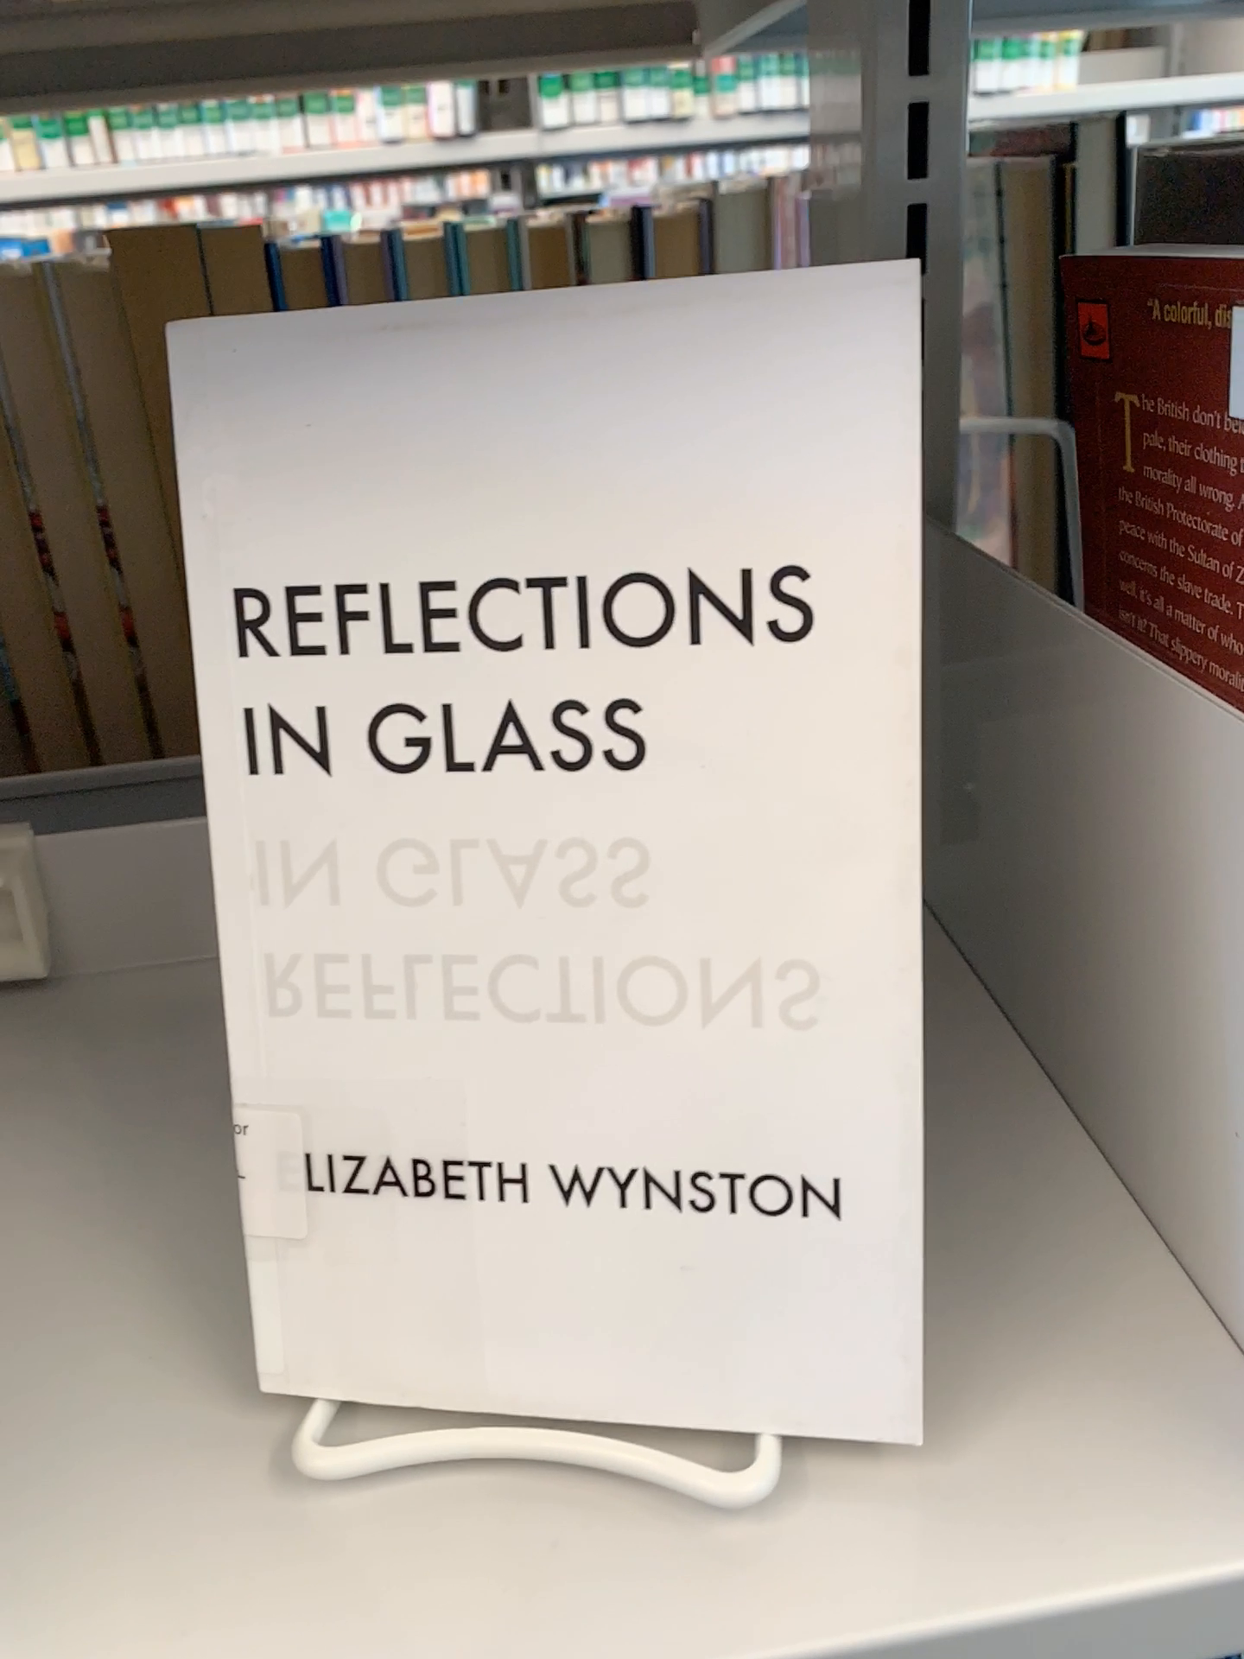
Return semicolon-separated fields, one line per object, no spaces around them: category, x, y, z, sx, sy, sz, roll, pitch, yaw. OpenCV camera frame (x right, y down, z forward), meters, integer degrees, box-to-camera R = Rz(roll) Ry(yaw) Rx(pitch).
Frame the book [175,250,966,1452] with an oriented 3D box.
book;-0.007;0.009;0.228;0.127;0.196;0.018;0;9;10
